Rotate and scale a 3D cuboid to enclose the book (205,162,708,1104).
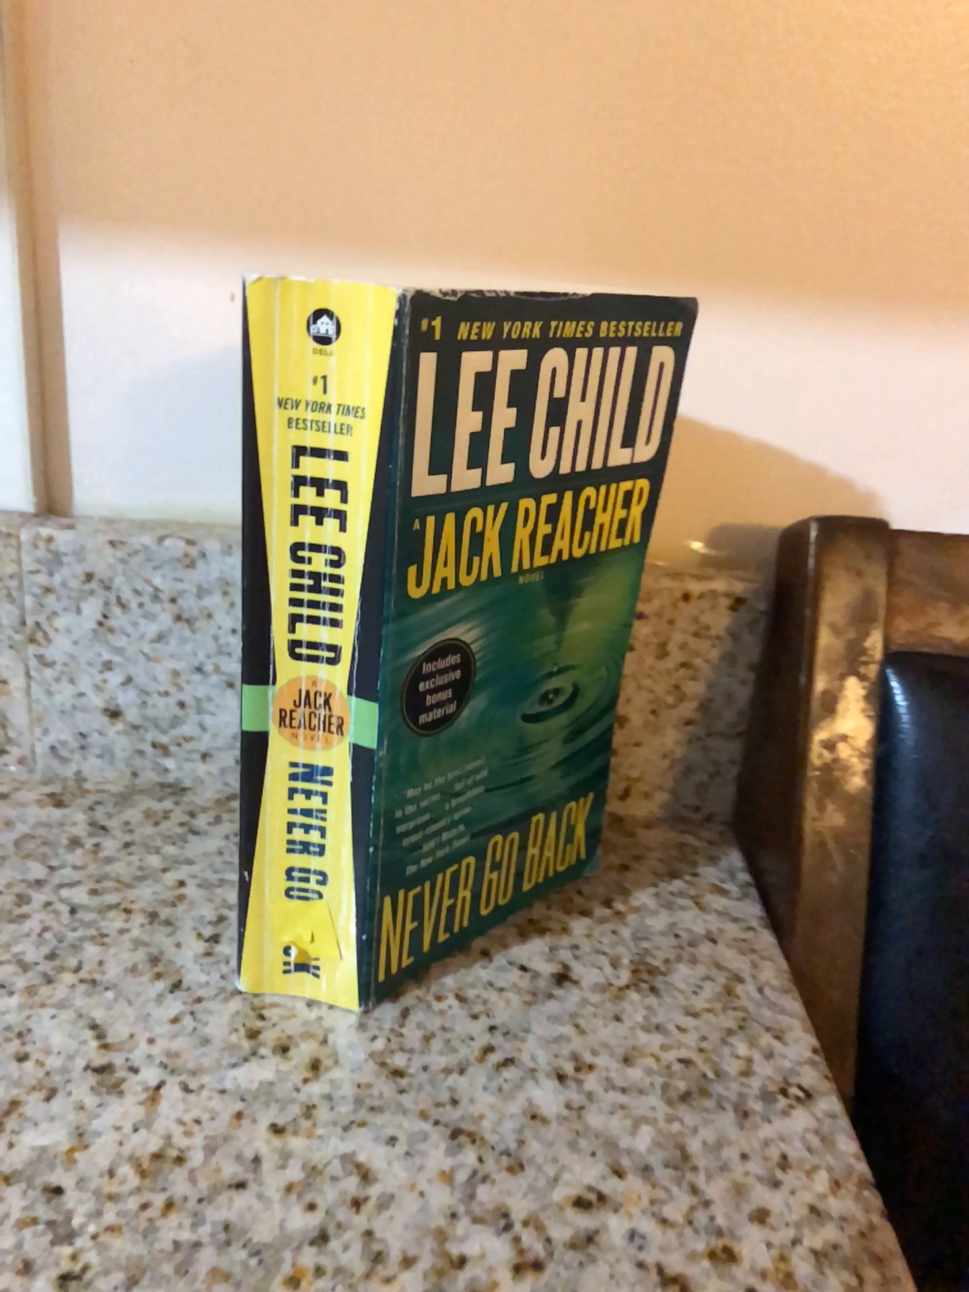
[{"bbox_3d":[-0.004,-0.012,0.317,0.050,0.219,0.161,17,23,25],"label":"book"}]
